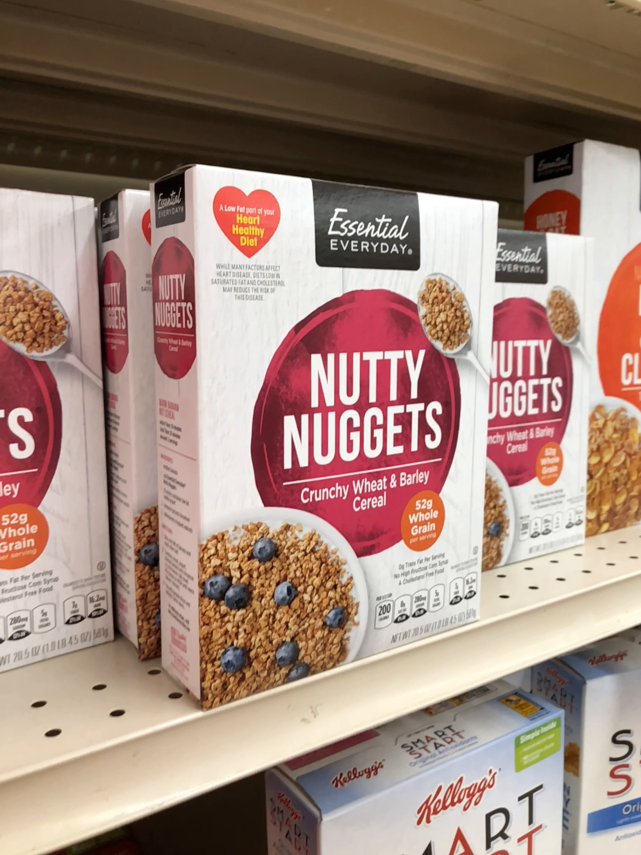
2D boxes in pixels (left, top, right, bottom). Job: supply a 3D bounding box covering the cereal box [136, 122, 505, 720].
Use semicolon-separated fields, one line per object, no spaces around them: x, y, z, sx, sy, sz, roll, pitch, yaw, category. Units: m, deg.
0.007;-0.006;0.341;0.170;0.230;0.050;-5;9;-35;cereal box
